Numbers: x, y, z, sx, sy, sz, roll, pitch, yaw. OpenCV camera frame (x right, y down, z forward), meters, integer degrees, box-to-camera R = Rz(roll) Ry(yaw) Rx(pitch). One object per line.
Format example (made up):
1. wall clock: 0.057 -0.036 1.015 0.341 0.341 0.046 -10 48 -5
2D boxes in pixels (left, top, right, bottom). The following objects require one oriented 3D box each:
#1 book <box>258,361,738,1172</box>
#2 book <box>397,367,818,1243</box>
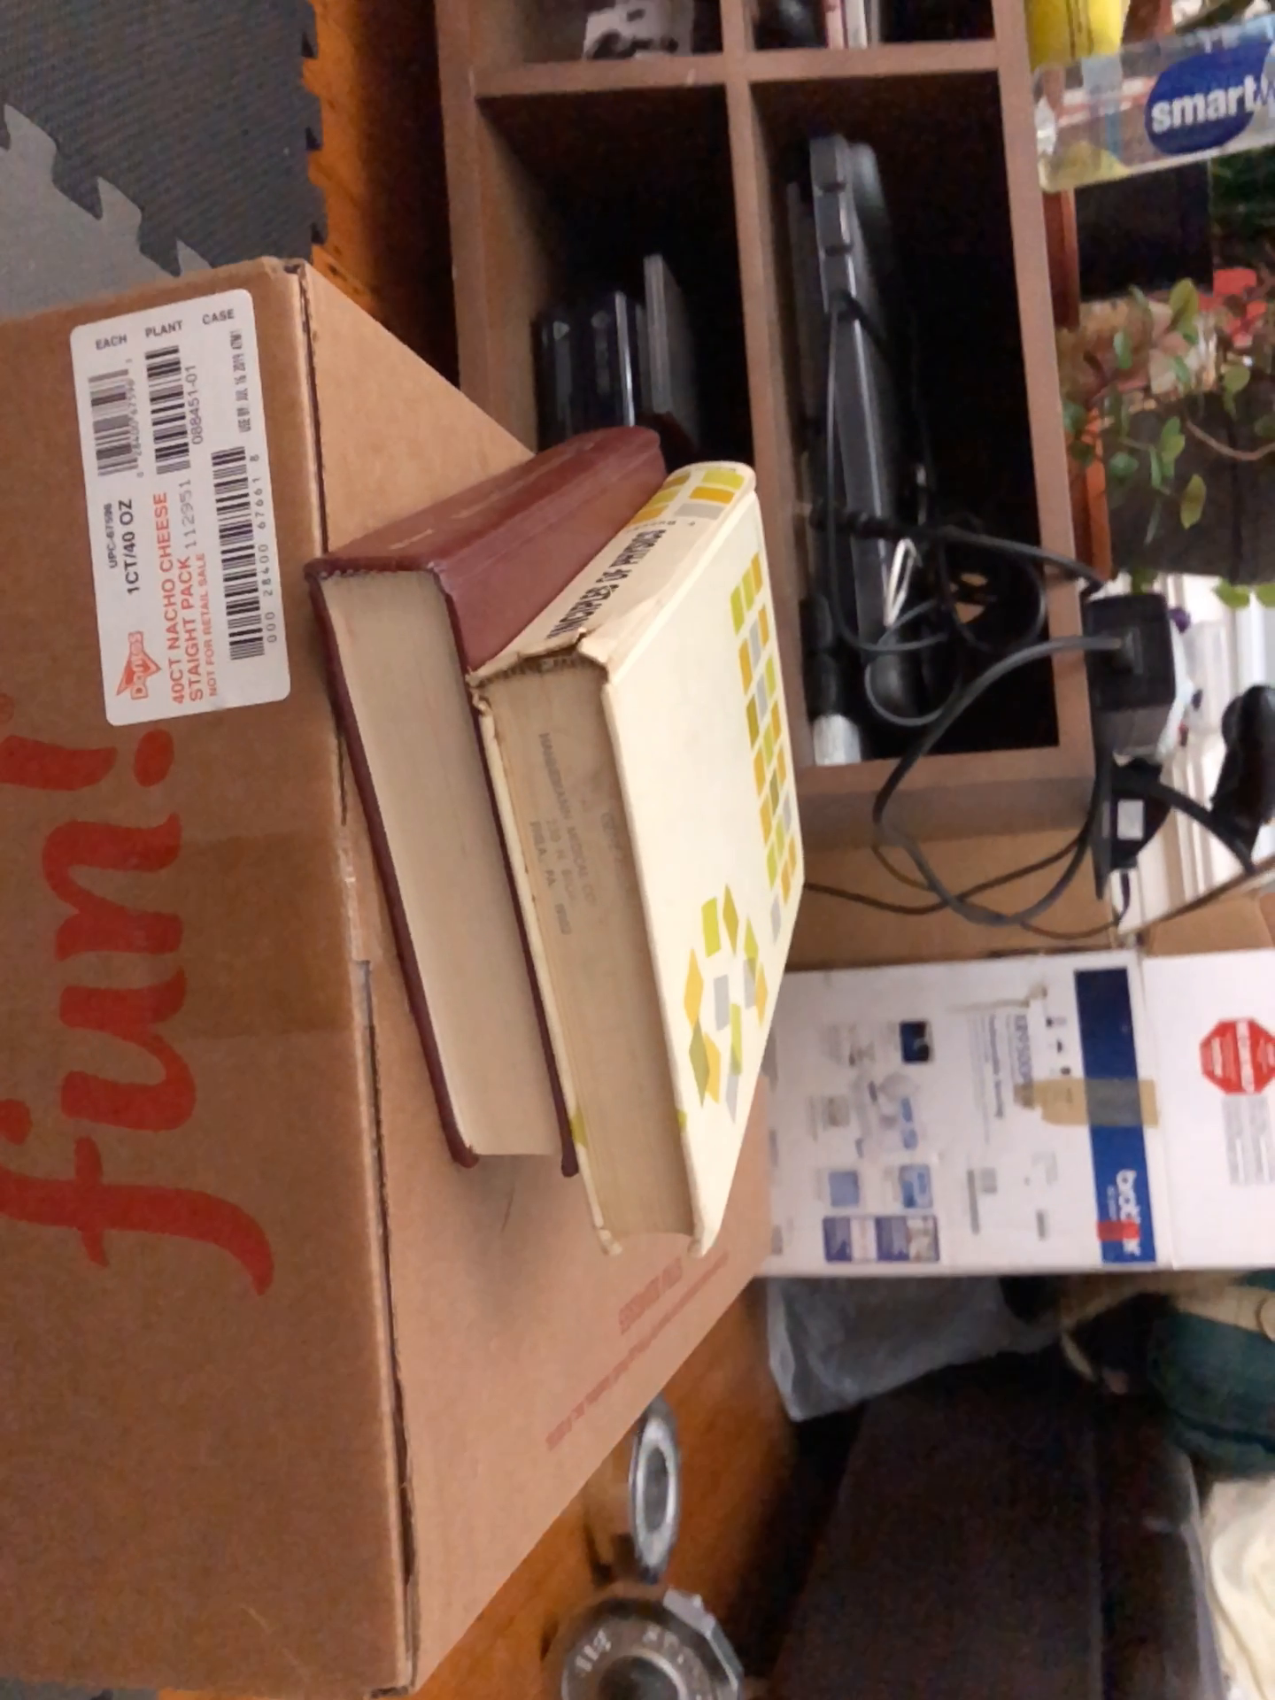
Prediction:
1. book: -0.020 -0.049 0.439 0.251 0.040 0.180 -62 143 -66
2. book: 0.012 -0.036 0.428 0.251 0.040 0.180 -66 146 -63
